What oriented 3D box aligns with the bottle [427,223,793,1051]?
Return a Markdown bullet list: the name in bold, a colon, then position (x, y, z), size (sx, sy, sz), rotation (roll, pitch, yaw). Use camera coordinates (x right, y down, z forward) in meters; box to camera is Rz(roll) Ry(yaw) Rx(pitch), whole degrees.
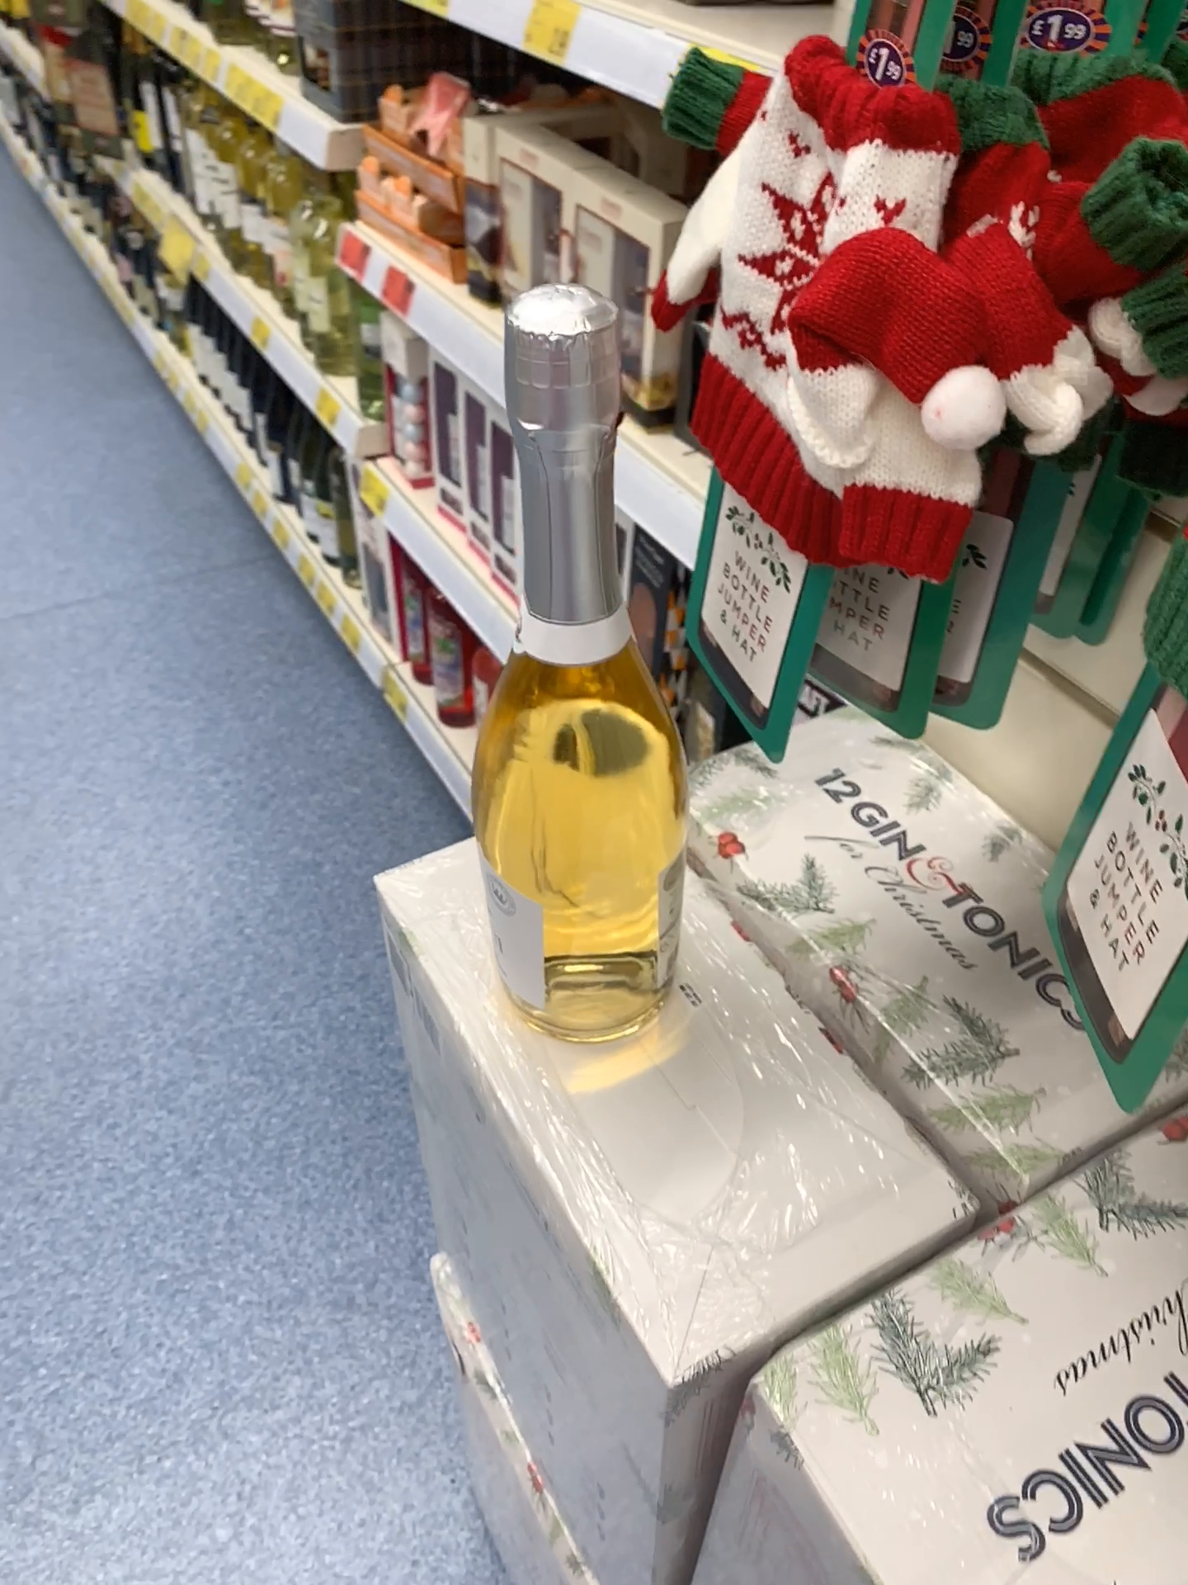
- **bottle**: position (-0.004, -0.039, 0.458), size (0.095, 0.298, 0.095), rotation (1, 41, -1)
